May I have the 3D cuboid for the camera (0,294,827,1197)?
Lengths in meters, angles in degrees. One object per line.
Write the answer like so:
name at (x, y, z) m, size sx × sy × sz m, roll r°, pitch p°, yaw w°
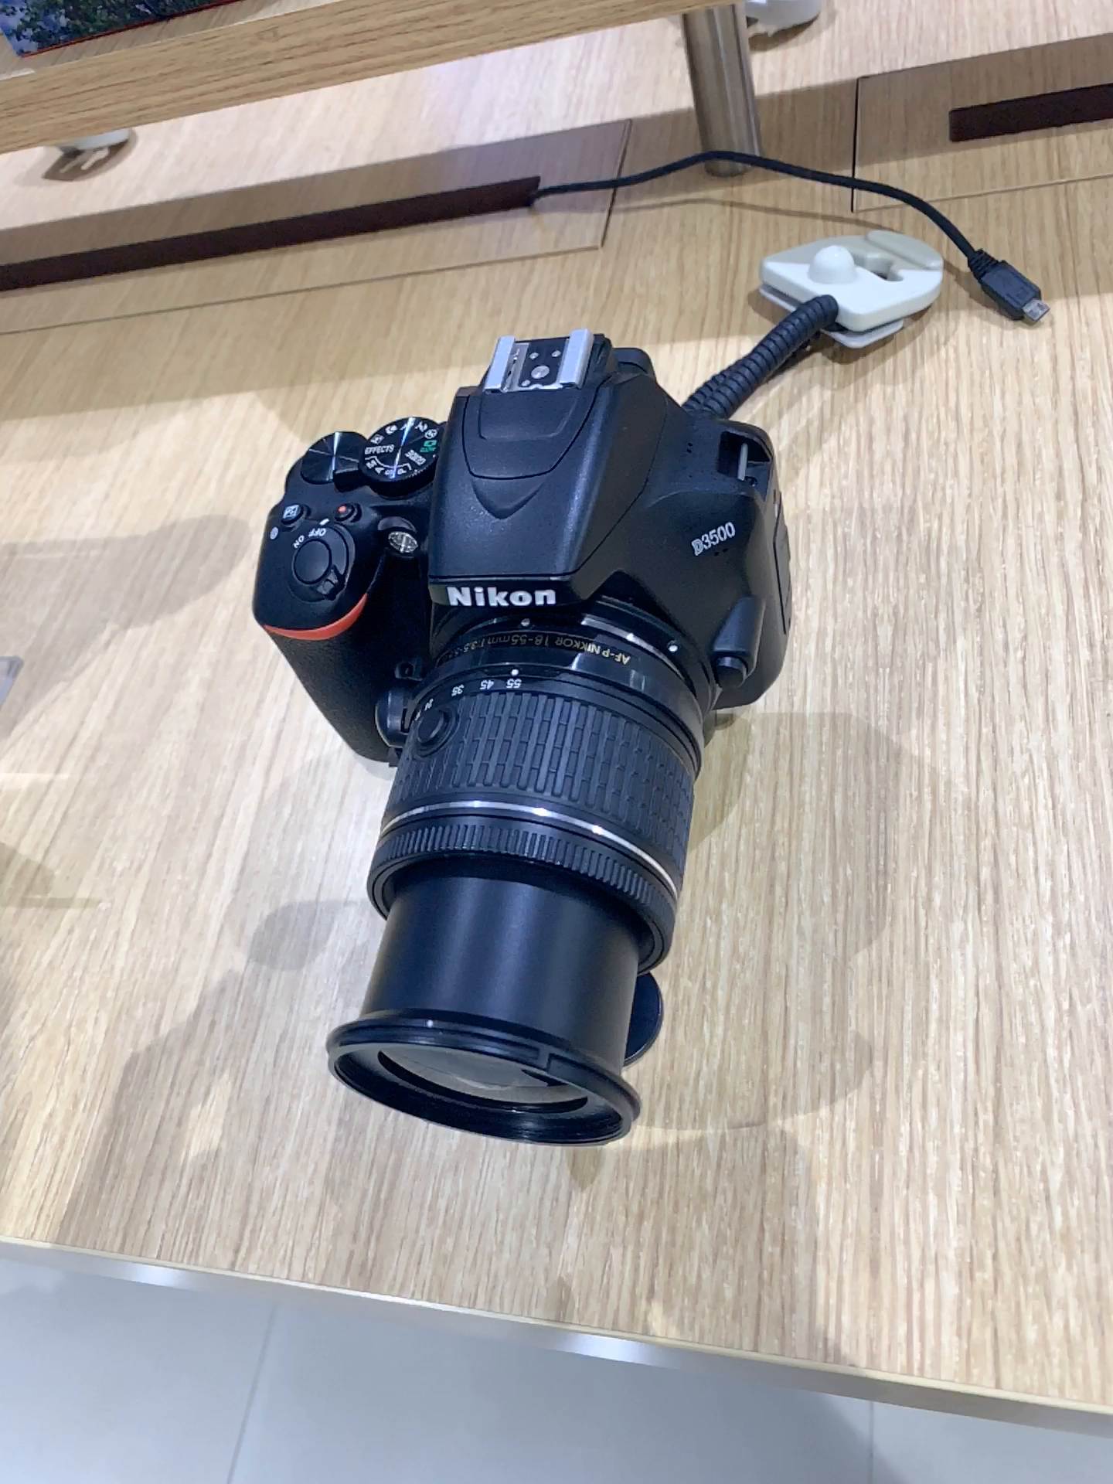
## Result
camera at (-0.013, 0.002, 0.223) m, size 0.117 × 0.095 × 0.131 m, roll -1°, pitch 56°, yaw 18°
